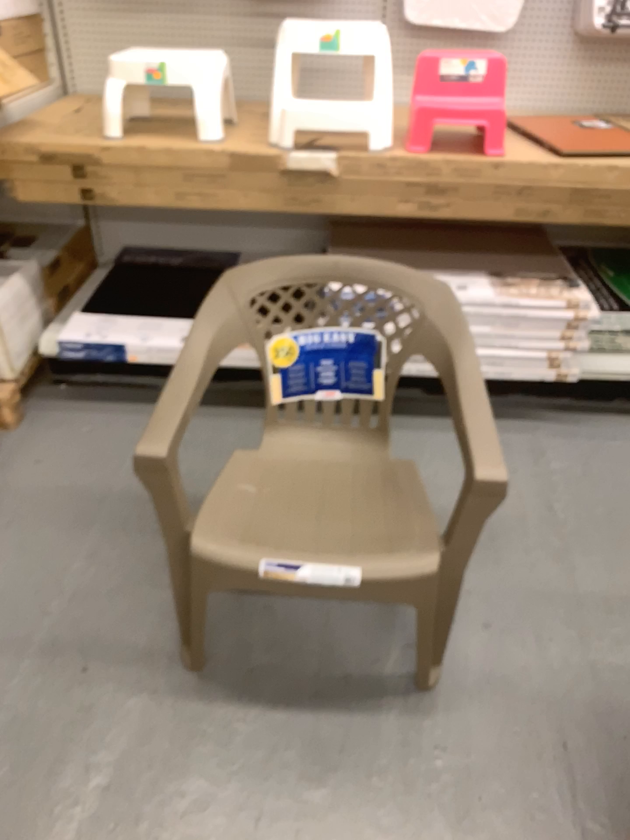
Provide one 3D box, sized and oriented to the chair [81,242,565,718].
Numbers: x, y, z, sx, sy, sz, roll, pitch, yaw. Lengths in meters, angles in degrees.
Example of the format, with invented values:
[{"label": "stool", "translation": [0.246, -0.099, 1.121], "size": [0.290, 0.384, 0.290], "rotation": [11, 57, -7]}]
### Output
[{"label": "chair", "translation": [0.017, 0.135, 1.524], "size": [0.766, 0.878, 0.590], "rotation": [3, 34, 3]}]
